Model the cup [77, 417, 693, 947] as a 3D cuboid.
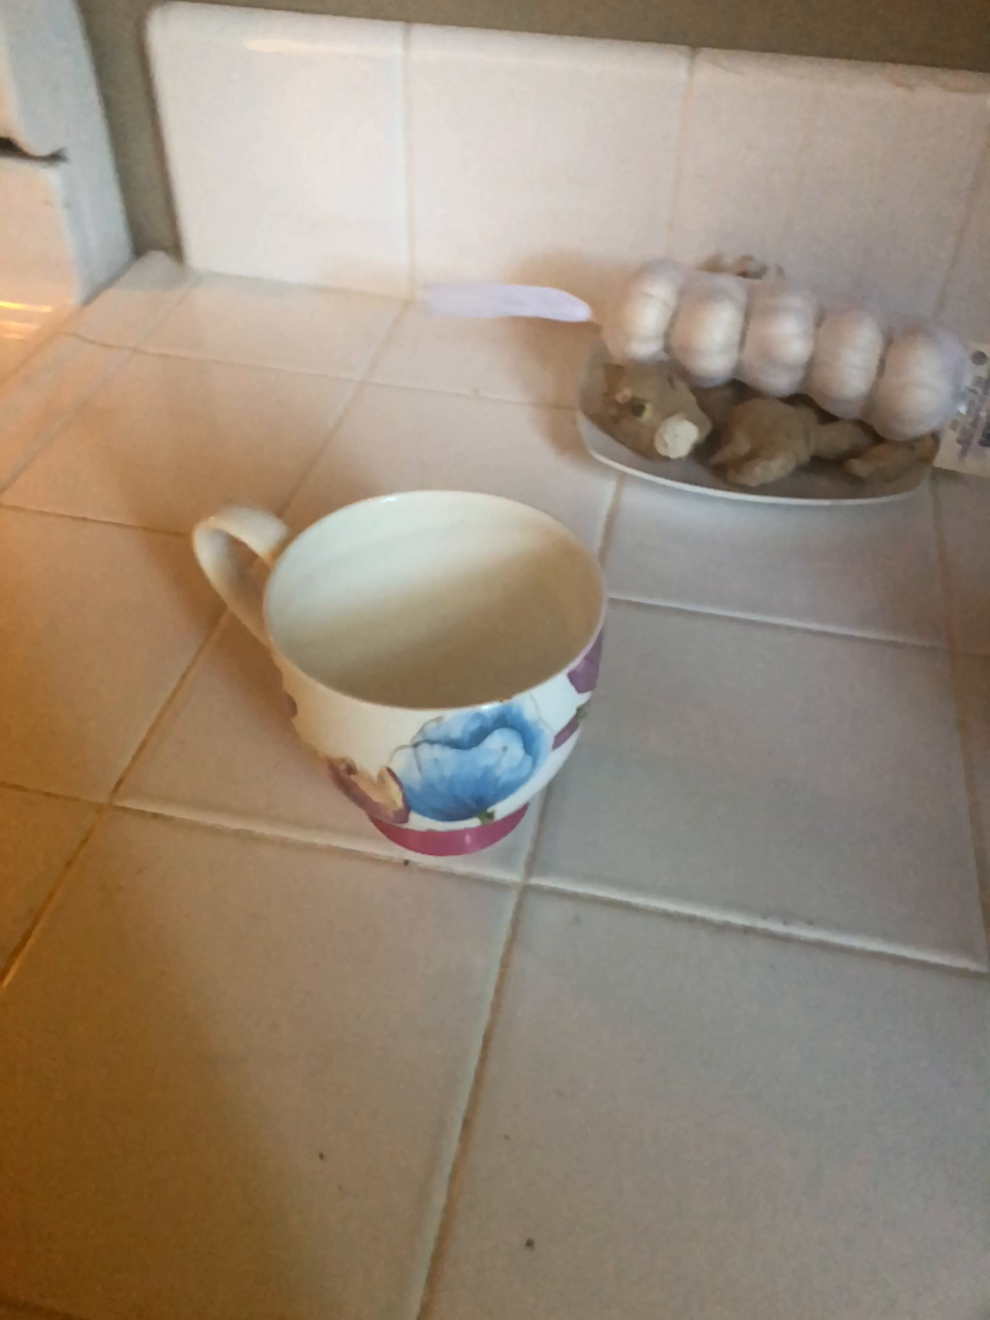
[{"bbox_3d":[-0.035,0.001,0.383,0.170,0.089,0.101,21,48,19],"label":"cup"}]
